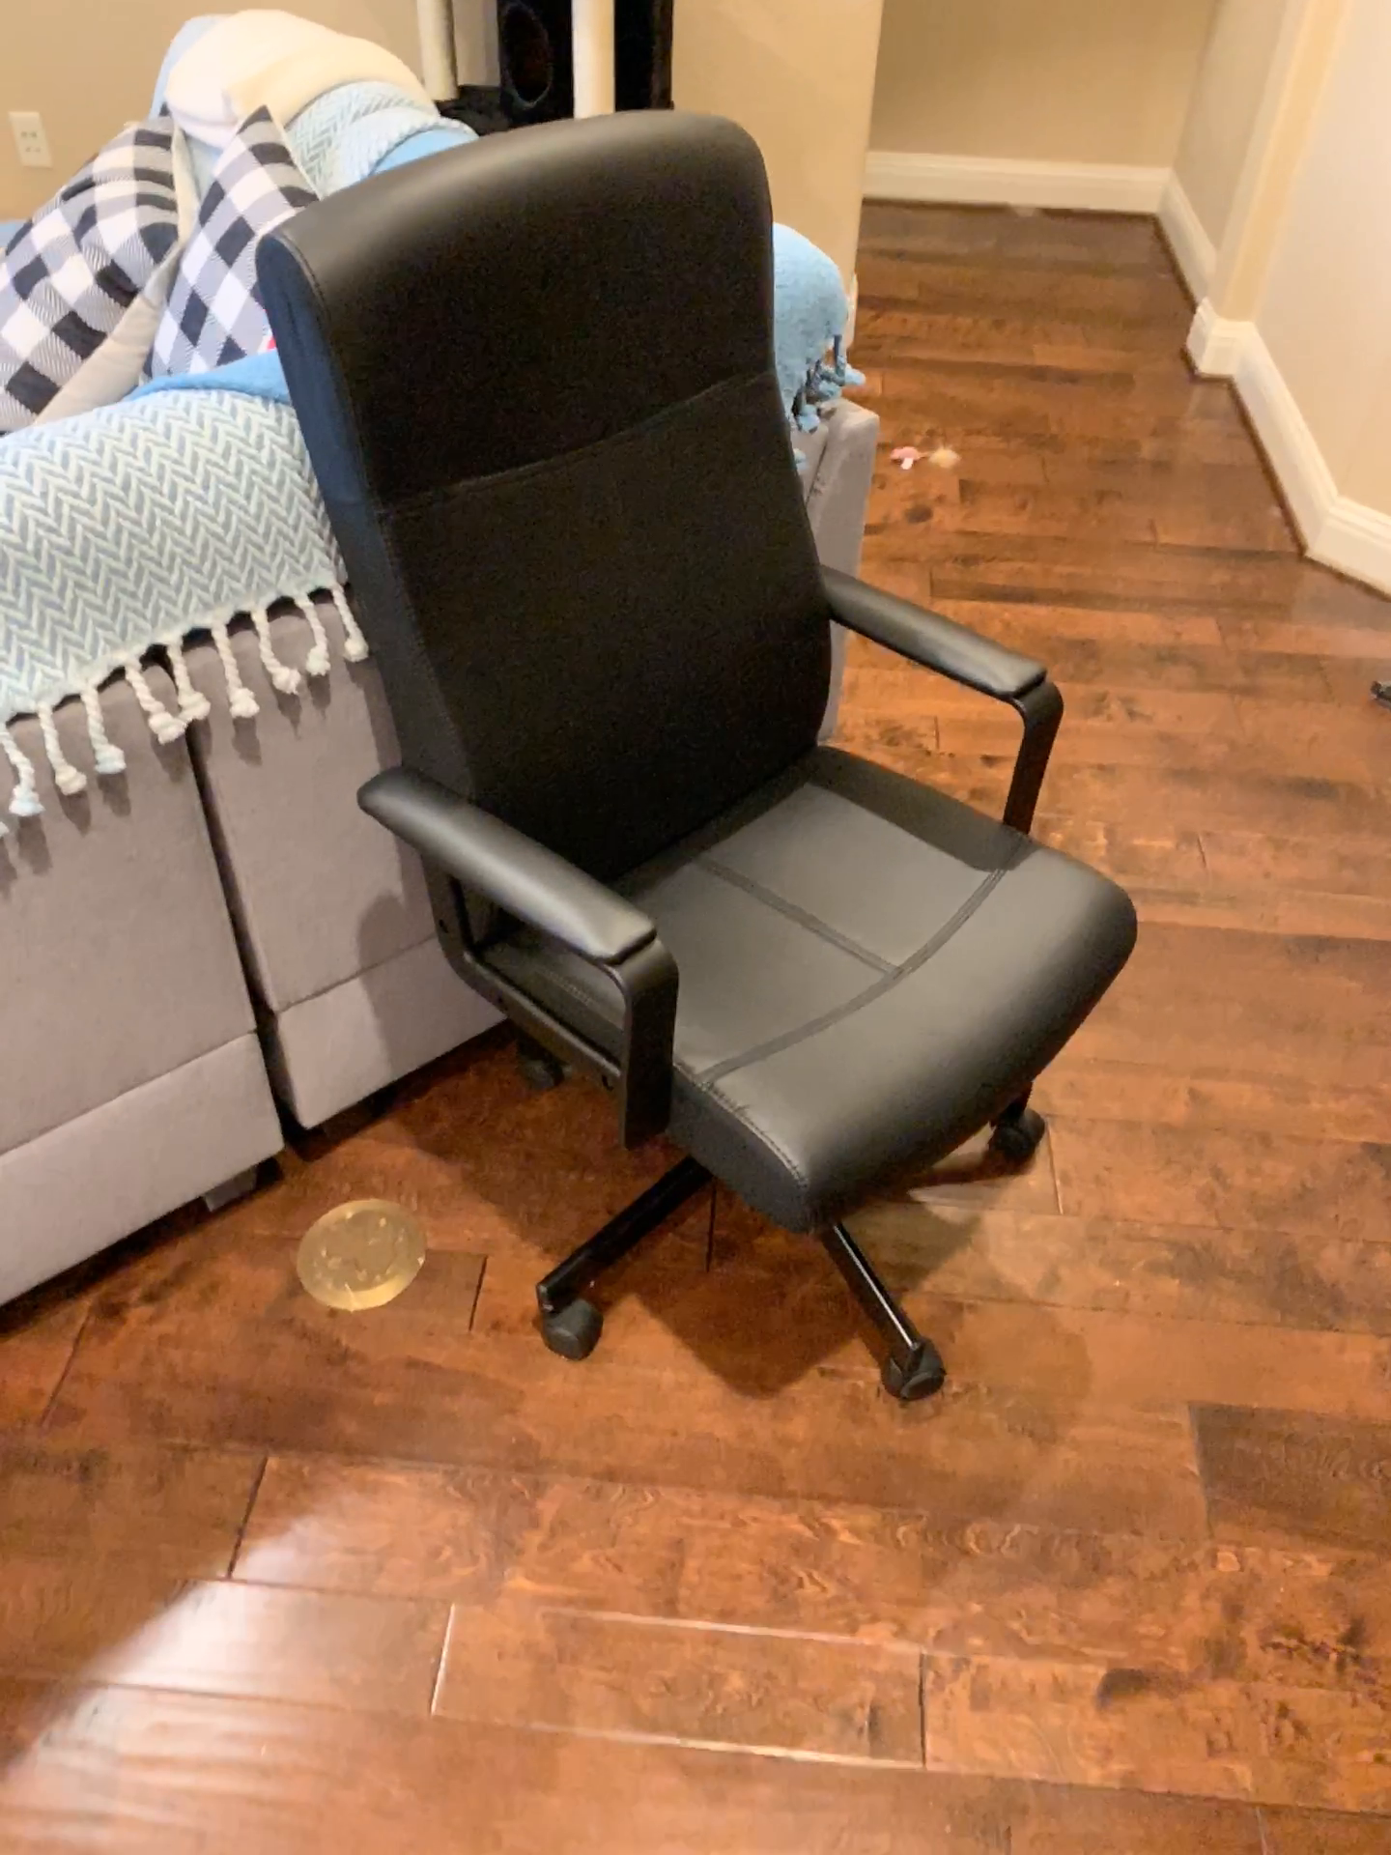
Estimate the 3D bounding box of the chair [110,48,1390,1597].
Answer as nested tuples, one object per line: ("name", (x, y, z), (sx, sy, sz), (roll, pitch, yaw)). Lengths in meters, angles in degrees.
("chair", (0.096, -0.112, 1.349), (0.736, 1.037, 0.761), (-32, 54, -31))
